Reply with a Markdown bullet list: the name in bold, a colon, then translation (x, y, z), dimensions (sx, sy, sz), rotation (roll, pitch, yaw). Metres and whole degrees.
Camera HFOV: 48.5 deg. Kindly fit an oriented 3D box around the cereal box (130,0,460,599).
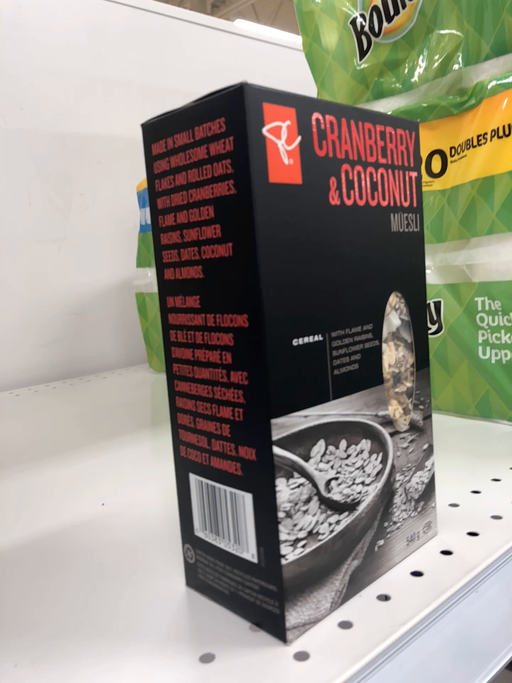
- **cereal box**: translation (0.026, -0.019, 0.254), dimensions (0.120, 0.200, 0.070), rotation (-13, 13, -41)
